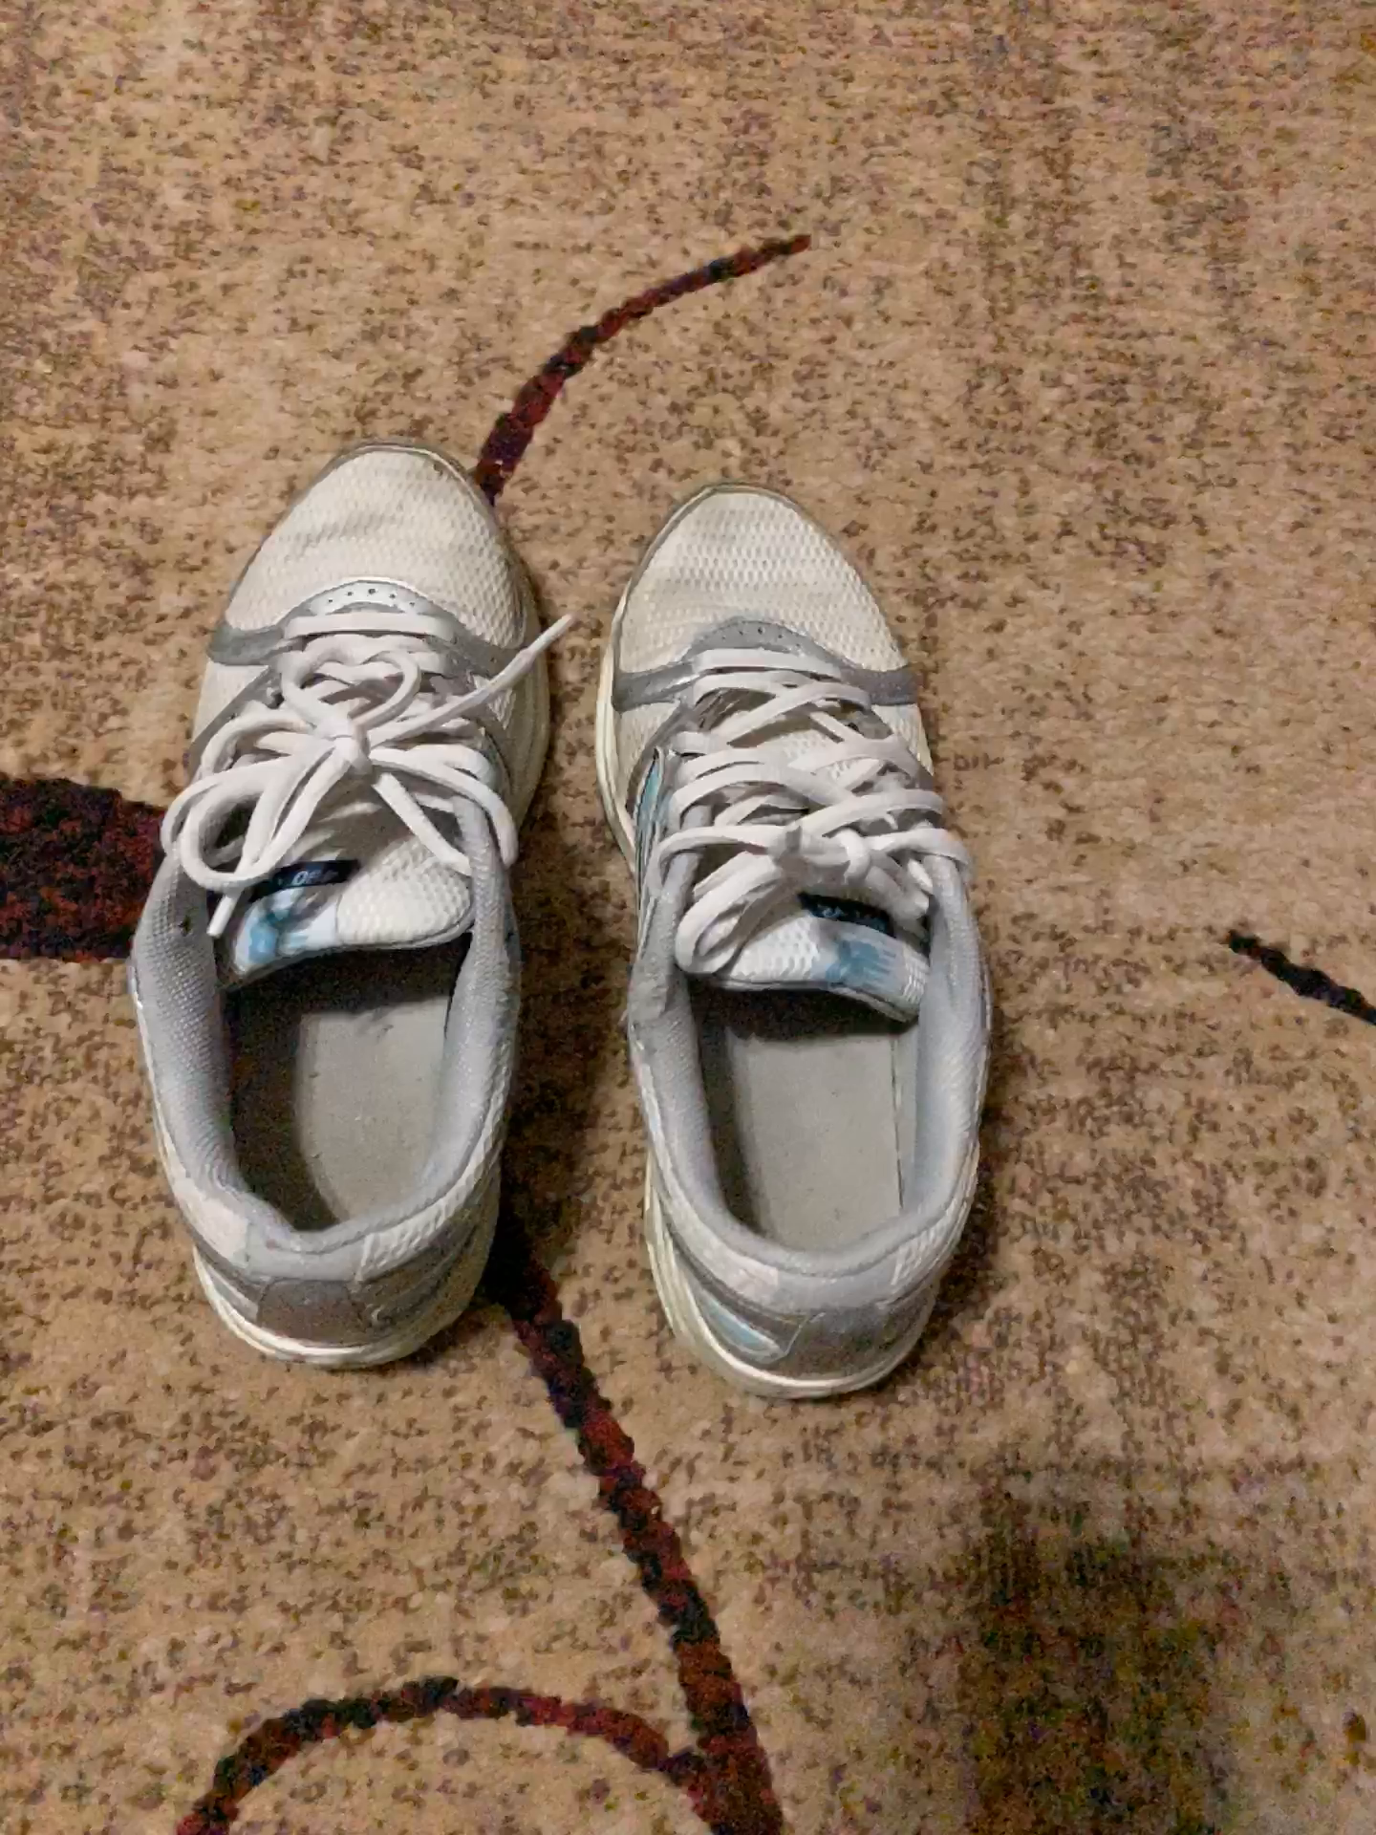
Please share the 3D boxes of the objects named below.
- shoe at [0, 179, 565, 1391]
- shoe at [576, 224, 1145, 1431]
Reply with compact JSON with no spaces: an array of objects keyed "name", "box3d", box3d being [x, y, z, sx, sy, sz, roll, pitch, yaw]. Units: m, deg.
[{"name":"shoe","box3d":[-0.092,-0.028,0.365,0.111,0.124,0.283,1,71,-3]},{"name":"shoe","box3d":[0.026,-0.021,0.369,0.104,0.124,0.283,-1,71,-4]}]
